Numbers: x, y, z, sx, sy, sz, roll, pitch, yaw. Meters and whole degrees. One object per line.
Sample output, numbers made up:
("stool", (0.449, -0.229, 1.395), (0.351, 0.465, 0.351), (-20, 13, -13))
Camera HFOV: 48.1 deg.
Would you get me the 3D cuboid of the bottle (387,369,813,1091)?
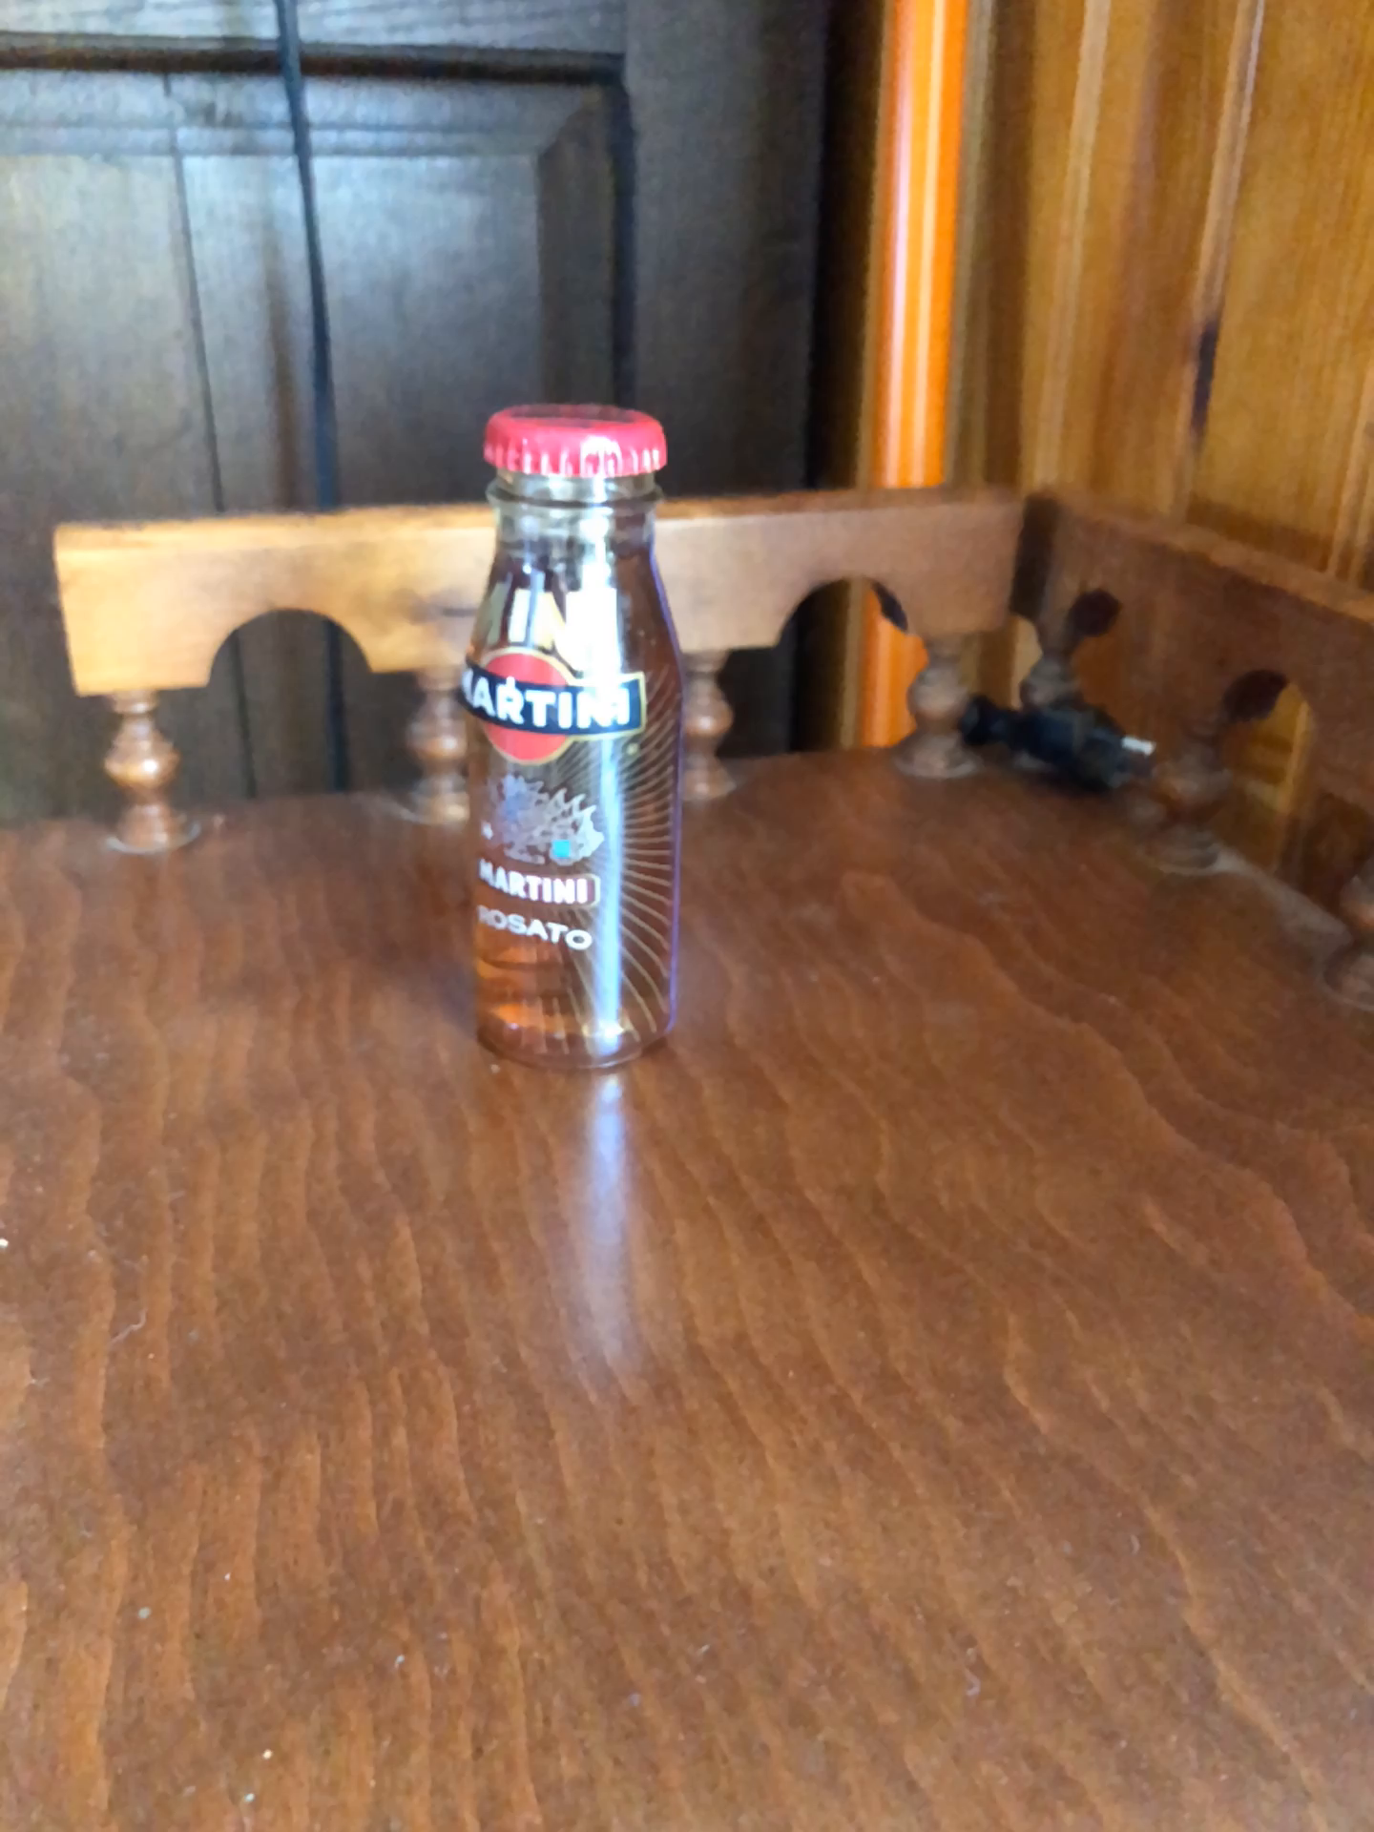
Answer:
("bottle", (-0.013, -0.034, 0.272), (0.050, 0.109, 0.050), (1, 26, 0))
